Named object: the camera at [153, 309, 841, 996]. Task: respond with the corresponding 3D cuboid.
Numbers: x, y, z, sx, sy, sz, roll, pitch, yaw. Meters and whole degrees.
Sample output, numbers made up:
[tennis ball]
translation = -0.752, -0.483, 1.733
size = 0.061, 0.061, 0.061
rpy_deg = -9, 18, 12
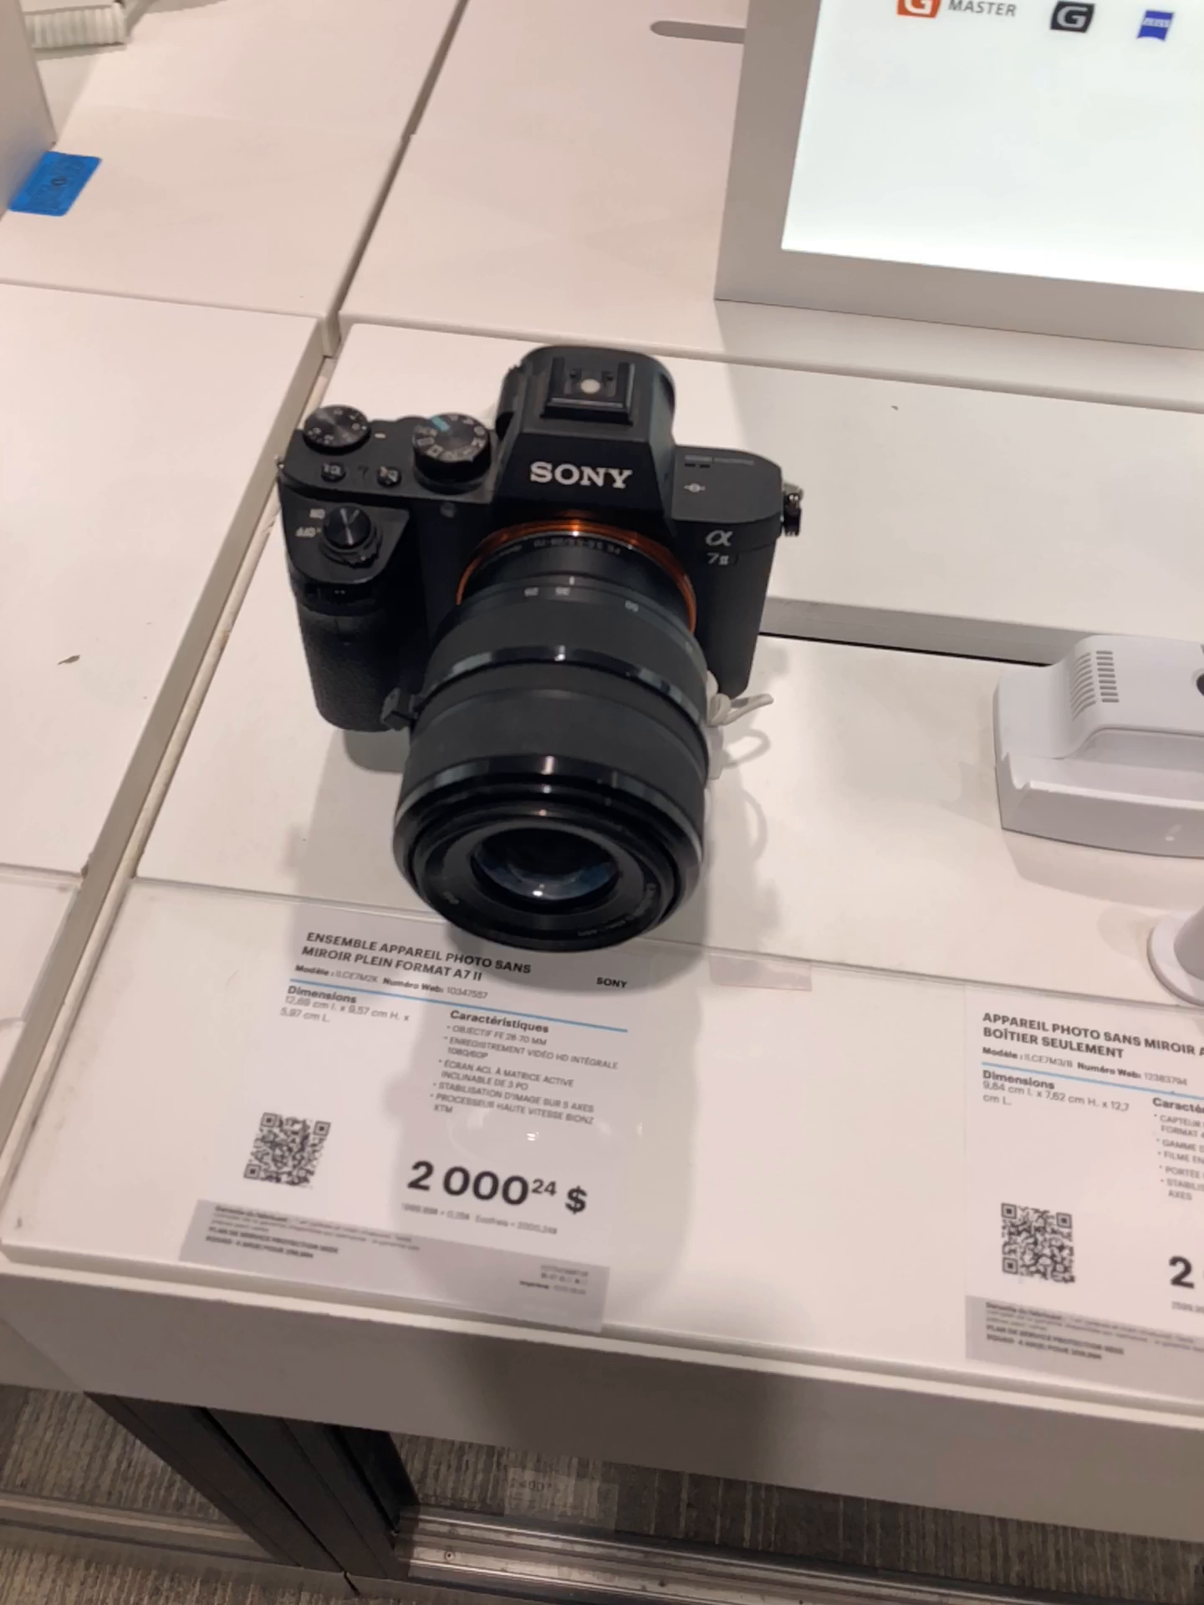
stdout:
[camera]
translation = -0.018, -0.038, 0.335
size = 0.134, 0.099, 0.131
rpy_deg = 4, 53, 1
